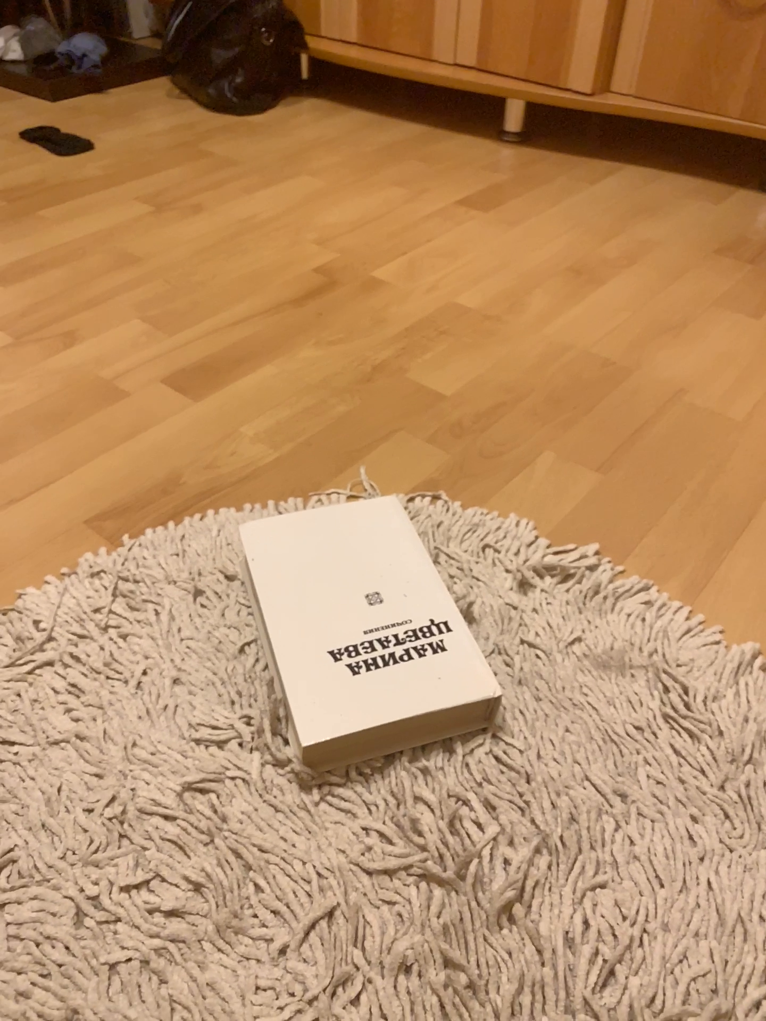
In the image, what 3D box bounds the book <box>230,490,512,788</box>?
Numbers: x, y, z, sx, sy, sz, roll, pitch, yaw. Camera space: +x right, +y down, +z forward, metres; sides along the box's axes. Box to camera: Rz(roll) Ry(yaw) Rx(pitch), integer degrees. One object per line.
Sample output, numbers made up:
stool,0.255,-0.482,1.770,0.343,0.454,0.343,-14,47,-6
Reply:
book,-0.019,0.077,0.566,0.140,0.040,0.209,-12,42,-15
